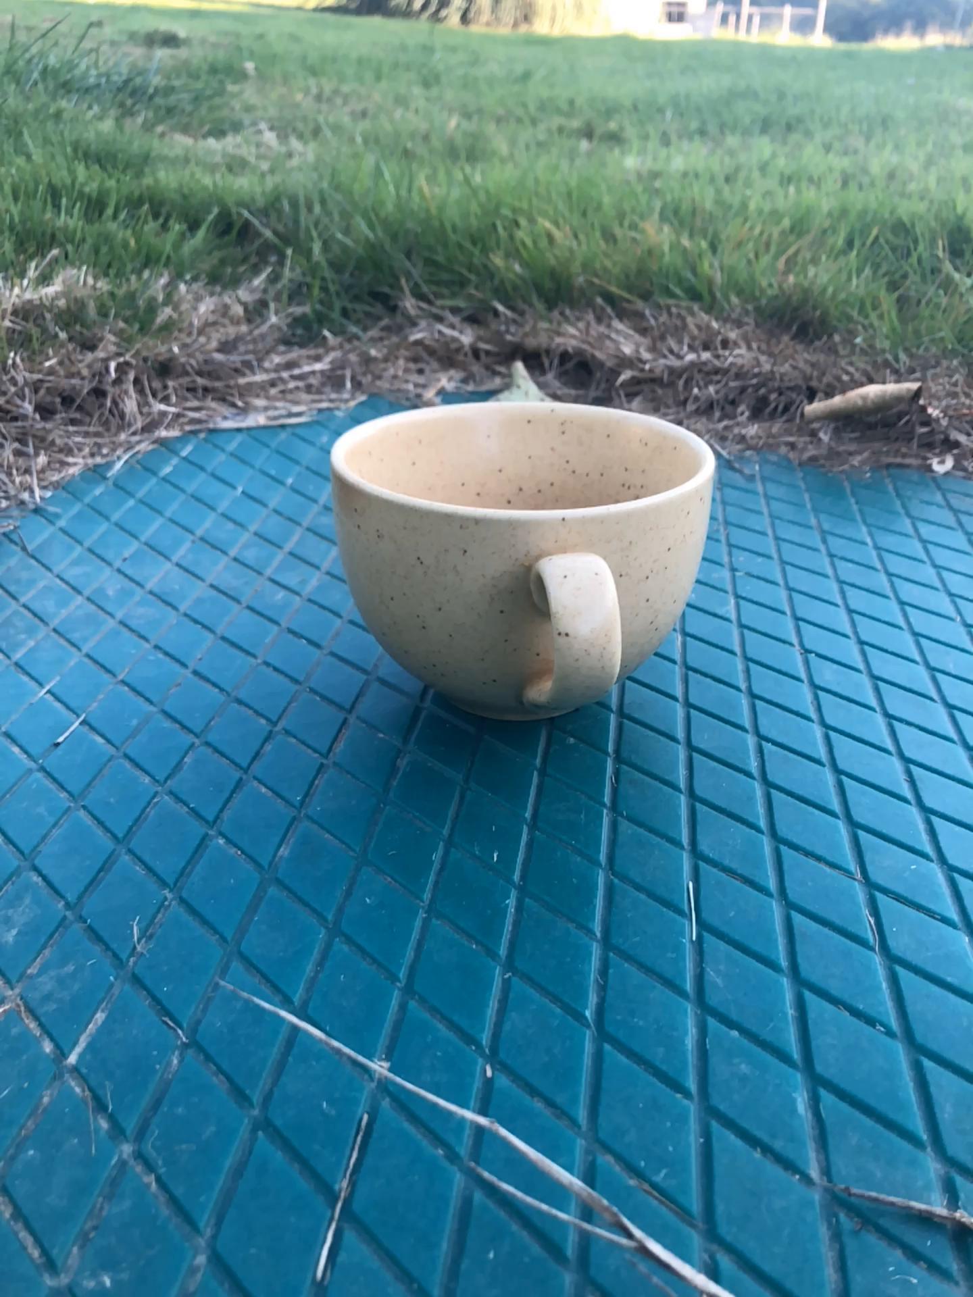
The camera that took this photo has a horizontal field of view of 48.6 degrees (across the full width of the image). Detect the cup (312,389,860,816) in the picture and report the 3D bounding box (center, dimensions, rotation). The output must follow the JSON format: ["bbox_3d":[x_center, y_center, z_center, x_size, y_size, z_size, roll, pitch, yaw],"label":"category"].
[{"bbox_3d":[0.016,-0.026,0.330,0.124,0.065,0.143,-6,29,-11],"label":"cup"}]
